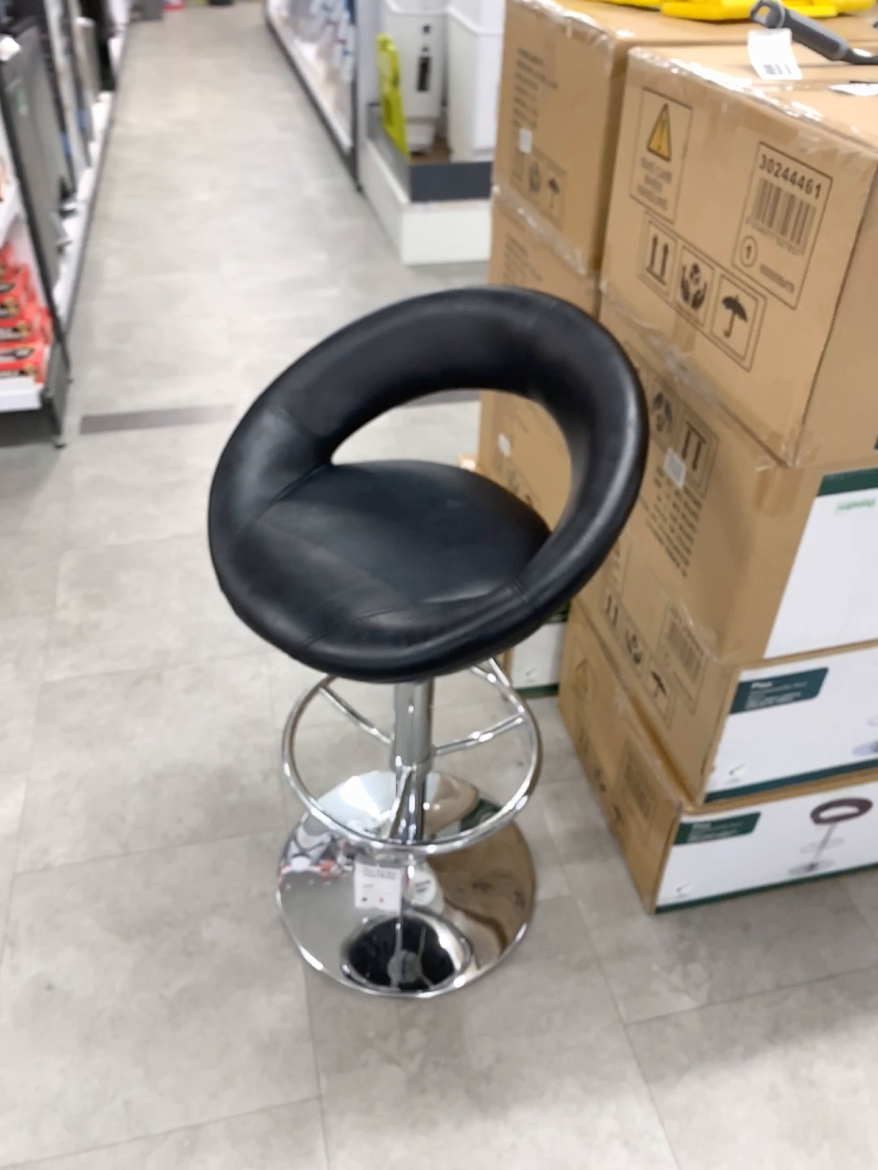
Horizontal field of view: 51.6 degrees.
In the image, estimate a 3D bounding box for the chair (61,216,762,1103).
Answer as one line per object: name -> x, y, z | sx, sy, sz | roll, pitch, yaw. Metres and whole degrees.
chair -> -0.050, 0.106, 1.196 | 0.484, 0.933, 0.512 | -28, 48, -32
